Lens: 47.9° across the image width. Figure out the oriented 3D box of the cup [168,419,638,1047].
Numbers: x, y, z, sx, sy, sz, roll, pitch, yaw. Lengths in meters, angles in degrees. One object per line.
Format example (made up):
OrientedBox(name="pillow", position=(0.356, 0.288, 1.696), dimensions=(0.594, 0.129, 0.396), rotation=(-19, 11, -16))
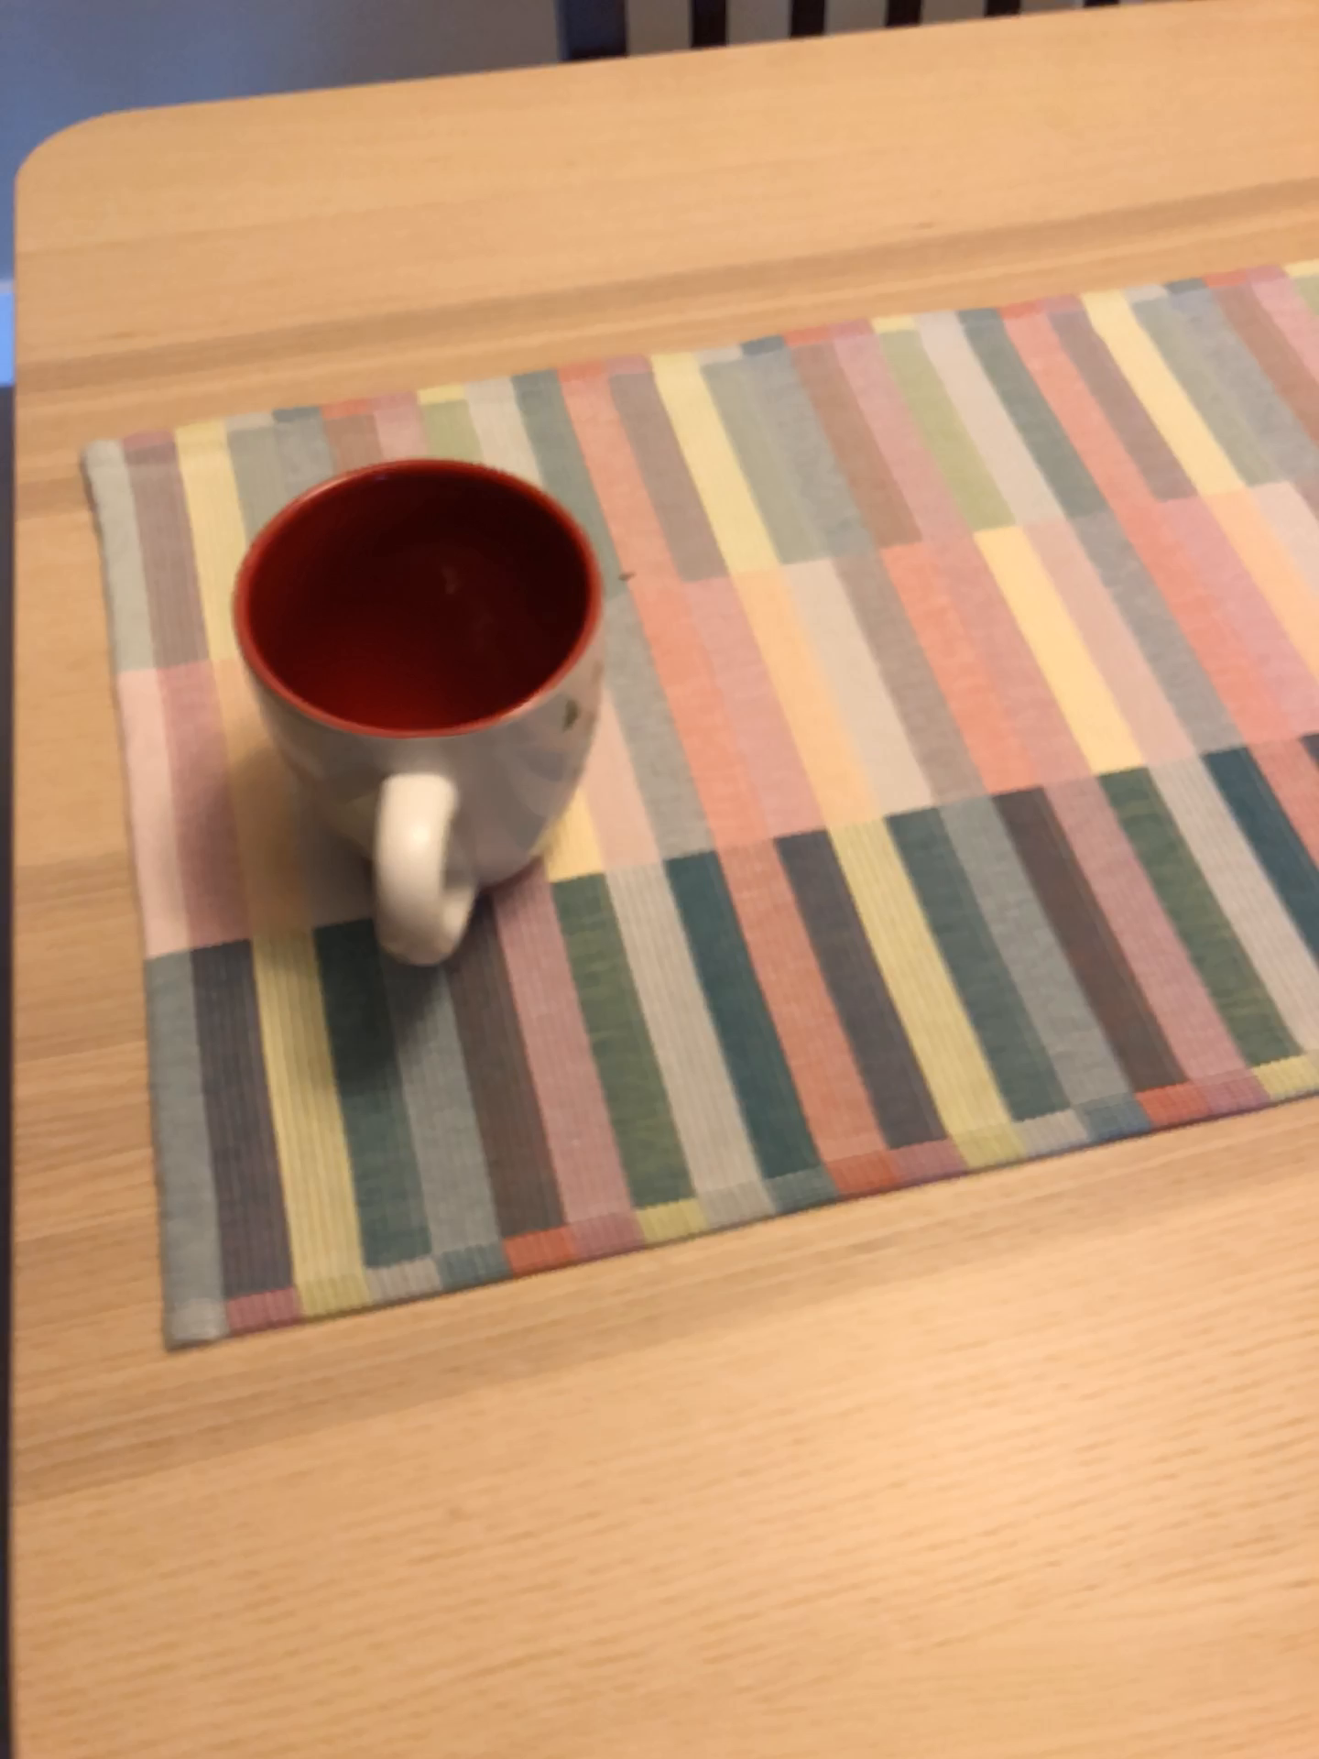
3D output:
OrientedBox(name="cup", position=(-0.057, -0.039, 0.397), dimensions=(0.100, 0.090, 0.140), rotation=(1, 57, -1))
